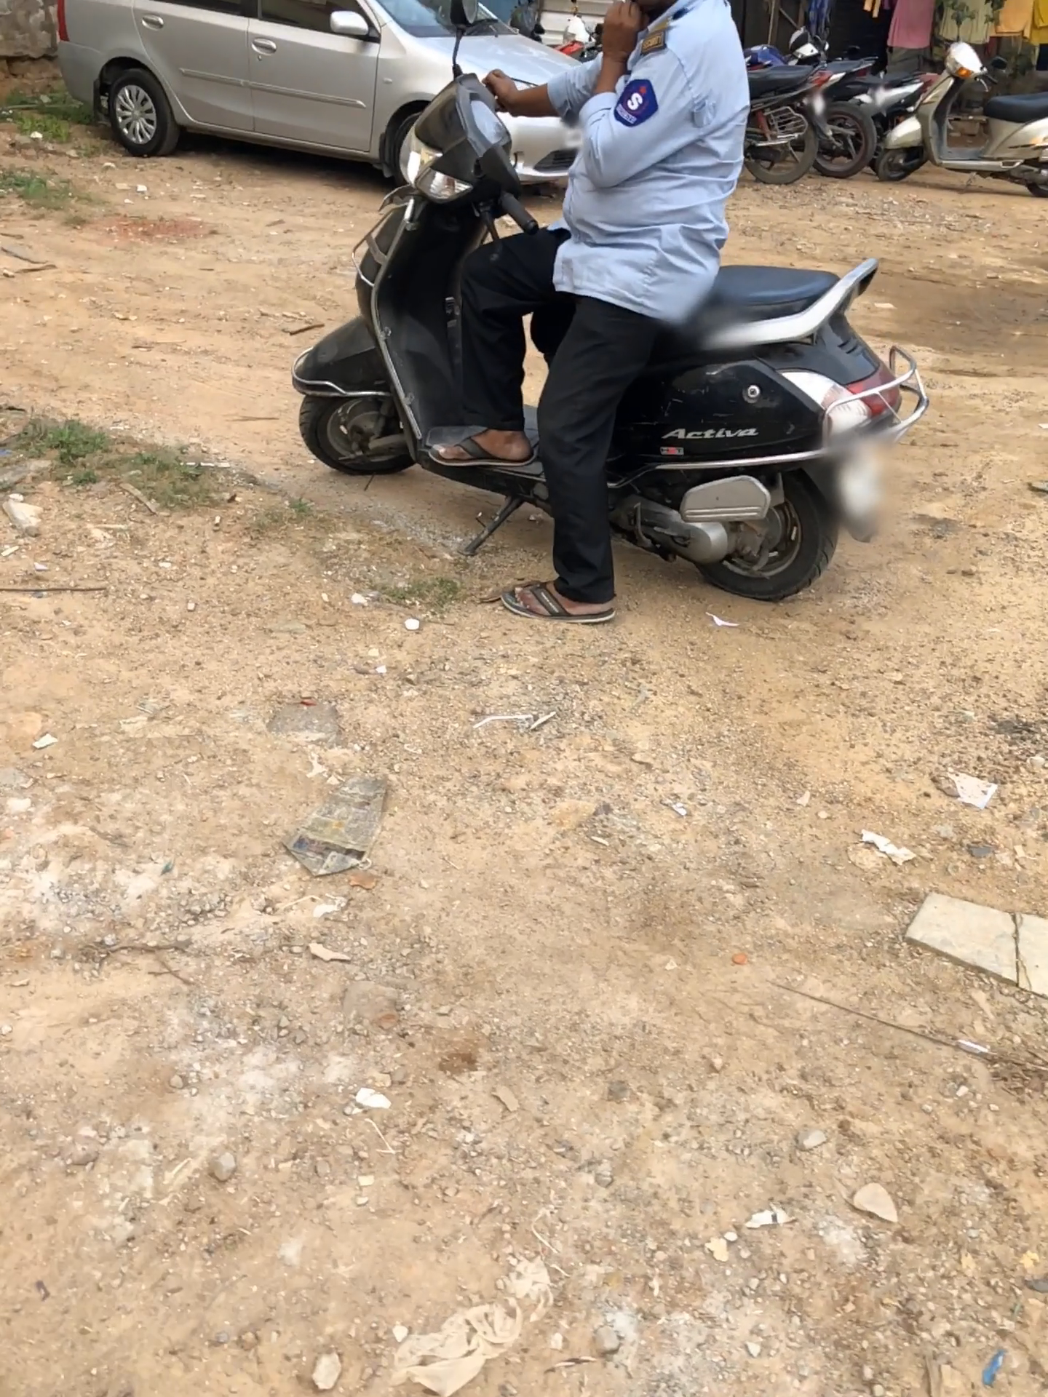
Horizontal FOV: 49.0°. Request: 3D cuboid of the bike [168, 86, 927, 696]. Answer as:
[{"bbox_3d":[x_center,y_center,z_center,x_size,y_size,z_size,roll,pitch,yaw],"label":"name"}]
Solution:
[{"bbox_3d":[-0.003,-0.801,2.704,1.523,1.102,0.578,17,34,28],"label":"bike"}]
